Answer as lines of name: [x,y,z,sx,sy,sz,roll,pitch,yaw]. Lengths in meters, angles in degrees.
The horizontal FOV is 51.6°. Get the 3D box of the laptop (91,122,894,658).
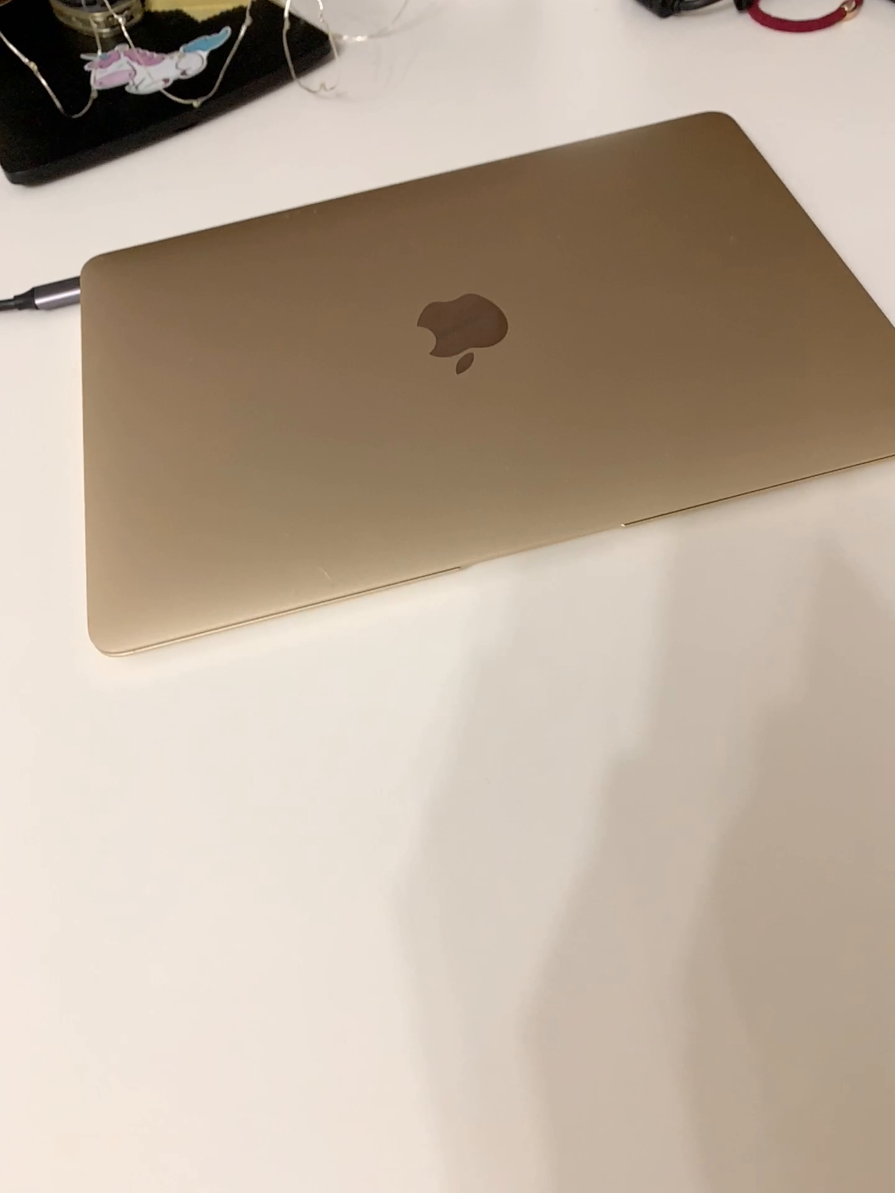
laptop: [0.006,-0.087,0.323,0.255,0.009,0.175,-14,57,-3]
